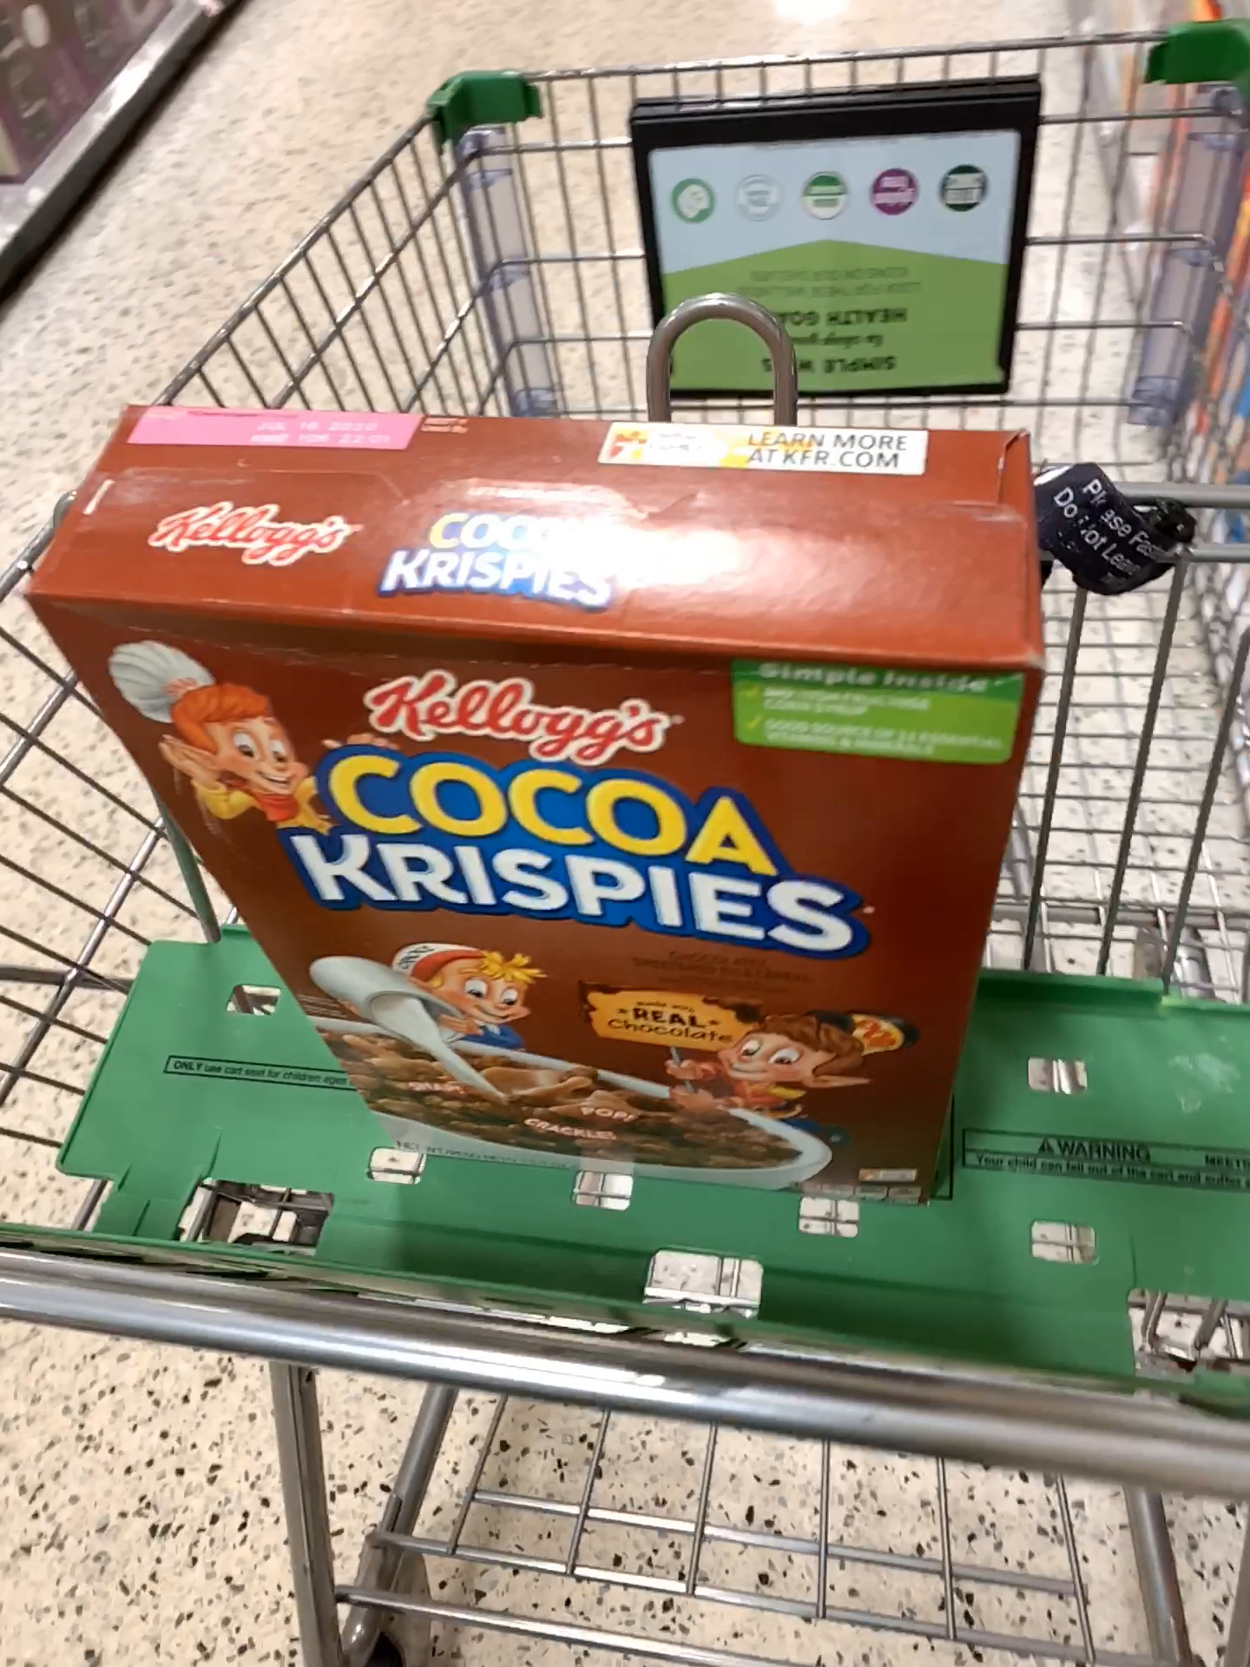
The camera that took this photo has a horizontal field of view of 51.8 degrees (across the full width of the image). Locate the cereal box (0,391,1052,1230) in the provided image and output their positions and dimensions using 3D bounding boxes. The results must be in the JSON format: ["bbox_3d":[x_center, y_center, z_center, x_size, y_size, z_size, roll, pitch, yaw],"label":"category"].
[{"bbox_3d":[-0.004,0.022,0.367,0.200,0.307,0.061,5,57,12],"label":"cereal box"}]
